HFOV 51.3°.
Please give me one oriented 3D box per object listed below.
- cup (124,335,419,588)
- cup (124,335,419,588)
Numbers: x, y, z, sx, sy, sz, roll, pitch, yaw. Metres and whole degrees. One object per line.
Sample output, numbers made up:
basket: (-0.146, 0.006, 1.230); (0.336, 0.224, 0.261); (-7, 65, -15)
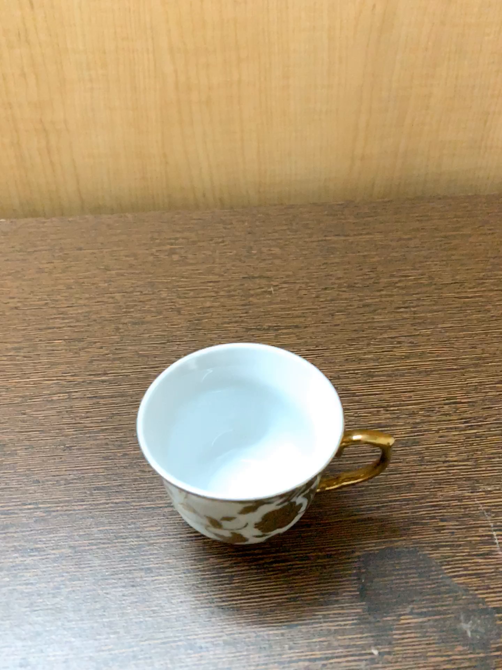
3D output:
cup: (0.006, 0.042, 0.184); (0.080, 0.050, 0.071); (0, 39, 0)
cup: (0.006, 0.042, 0.184); (0.080, 0.050, 0.071); (0, 39, 0)
